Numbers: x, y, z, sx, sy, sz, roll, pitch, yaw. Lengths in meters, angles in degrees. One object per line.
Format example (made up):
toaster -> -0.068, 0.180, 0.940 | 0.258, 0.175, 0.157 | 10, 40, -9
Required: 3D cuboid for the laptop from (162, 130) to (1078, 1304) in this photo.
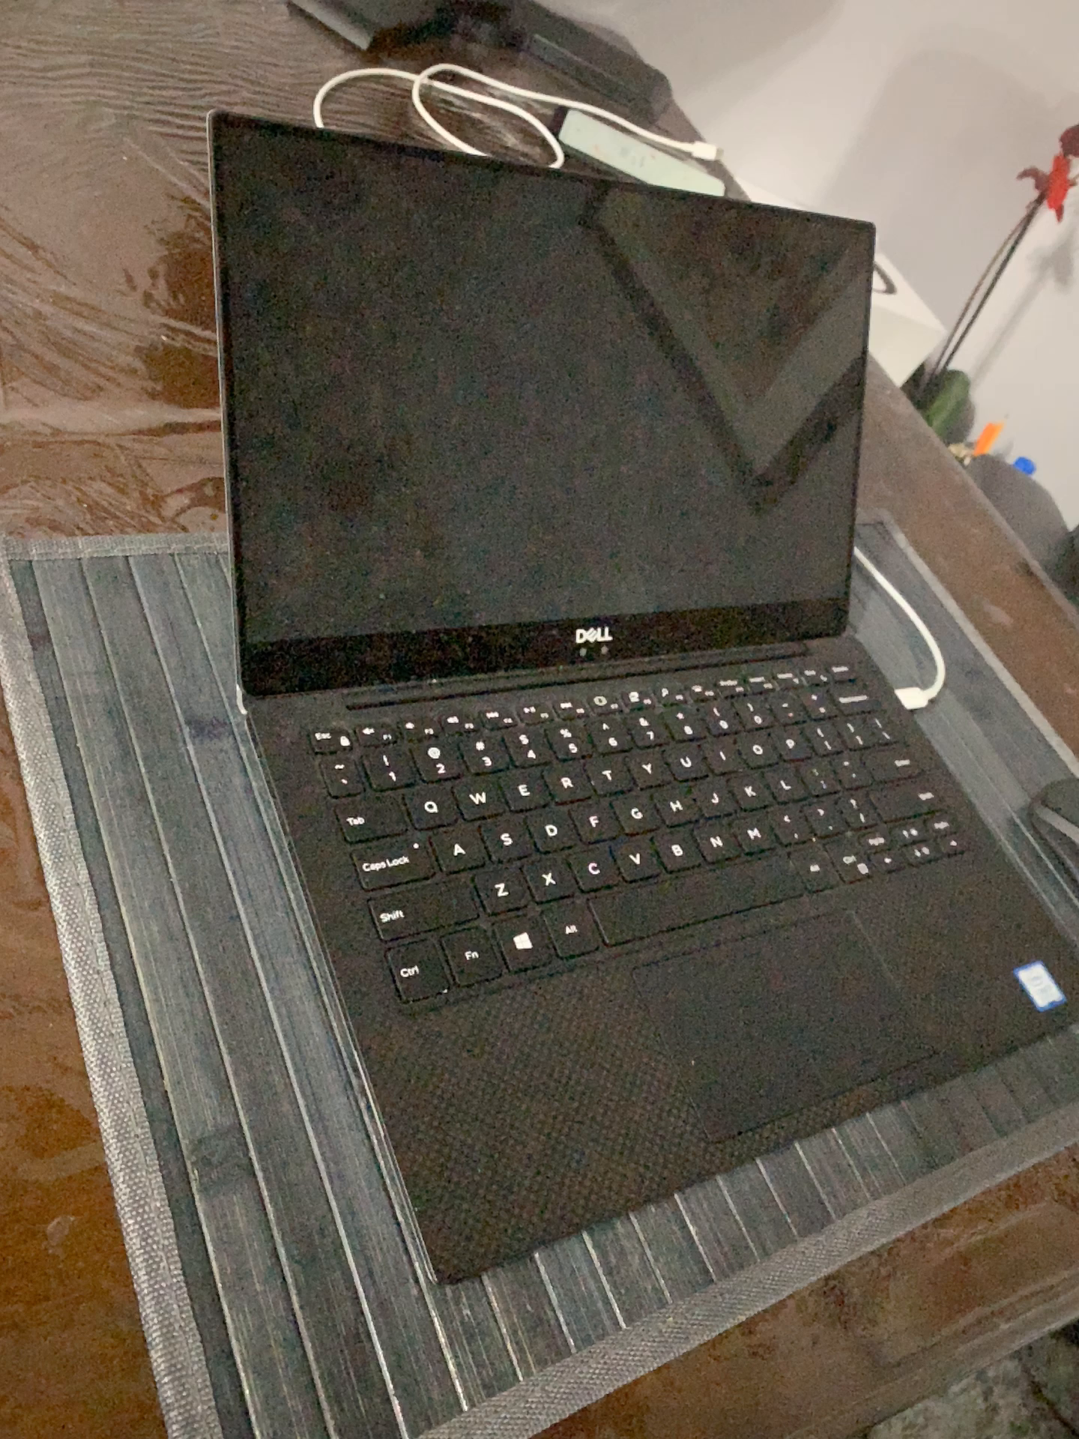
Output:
laptop -> 0.061, -0.031, 0.369 | 0.282, 0.129, 0.298 | -8, 56, -31
